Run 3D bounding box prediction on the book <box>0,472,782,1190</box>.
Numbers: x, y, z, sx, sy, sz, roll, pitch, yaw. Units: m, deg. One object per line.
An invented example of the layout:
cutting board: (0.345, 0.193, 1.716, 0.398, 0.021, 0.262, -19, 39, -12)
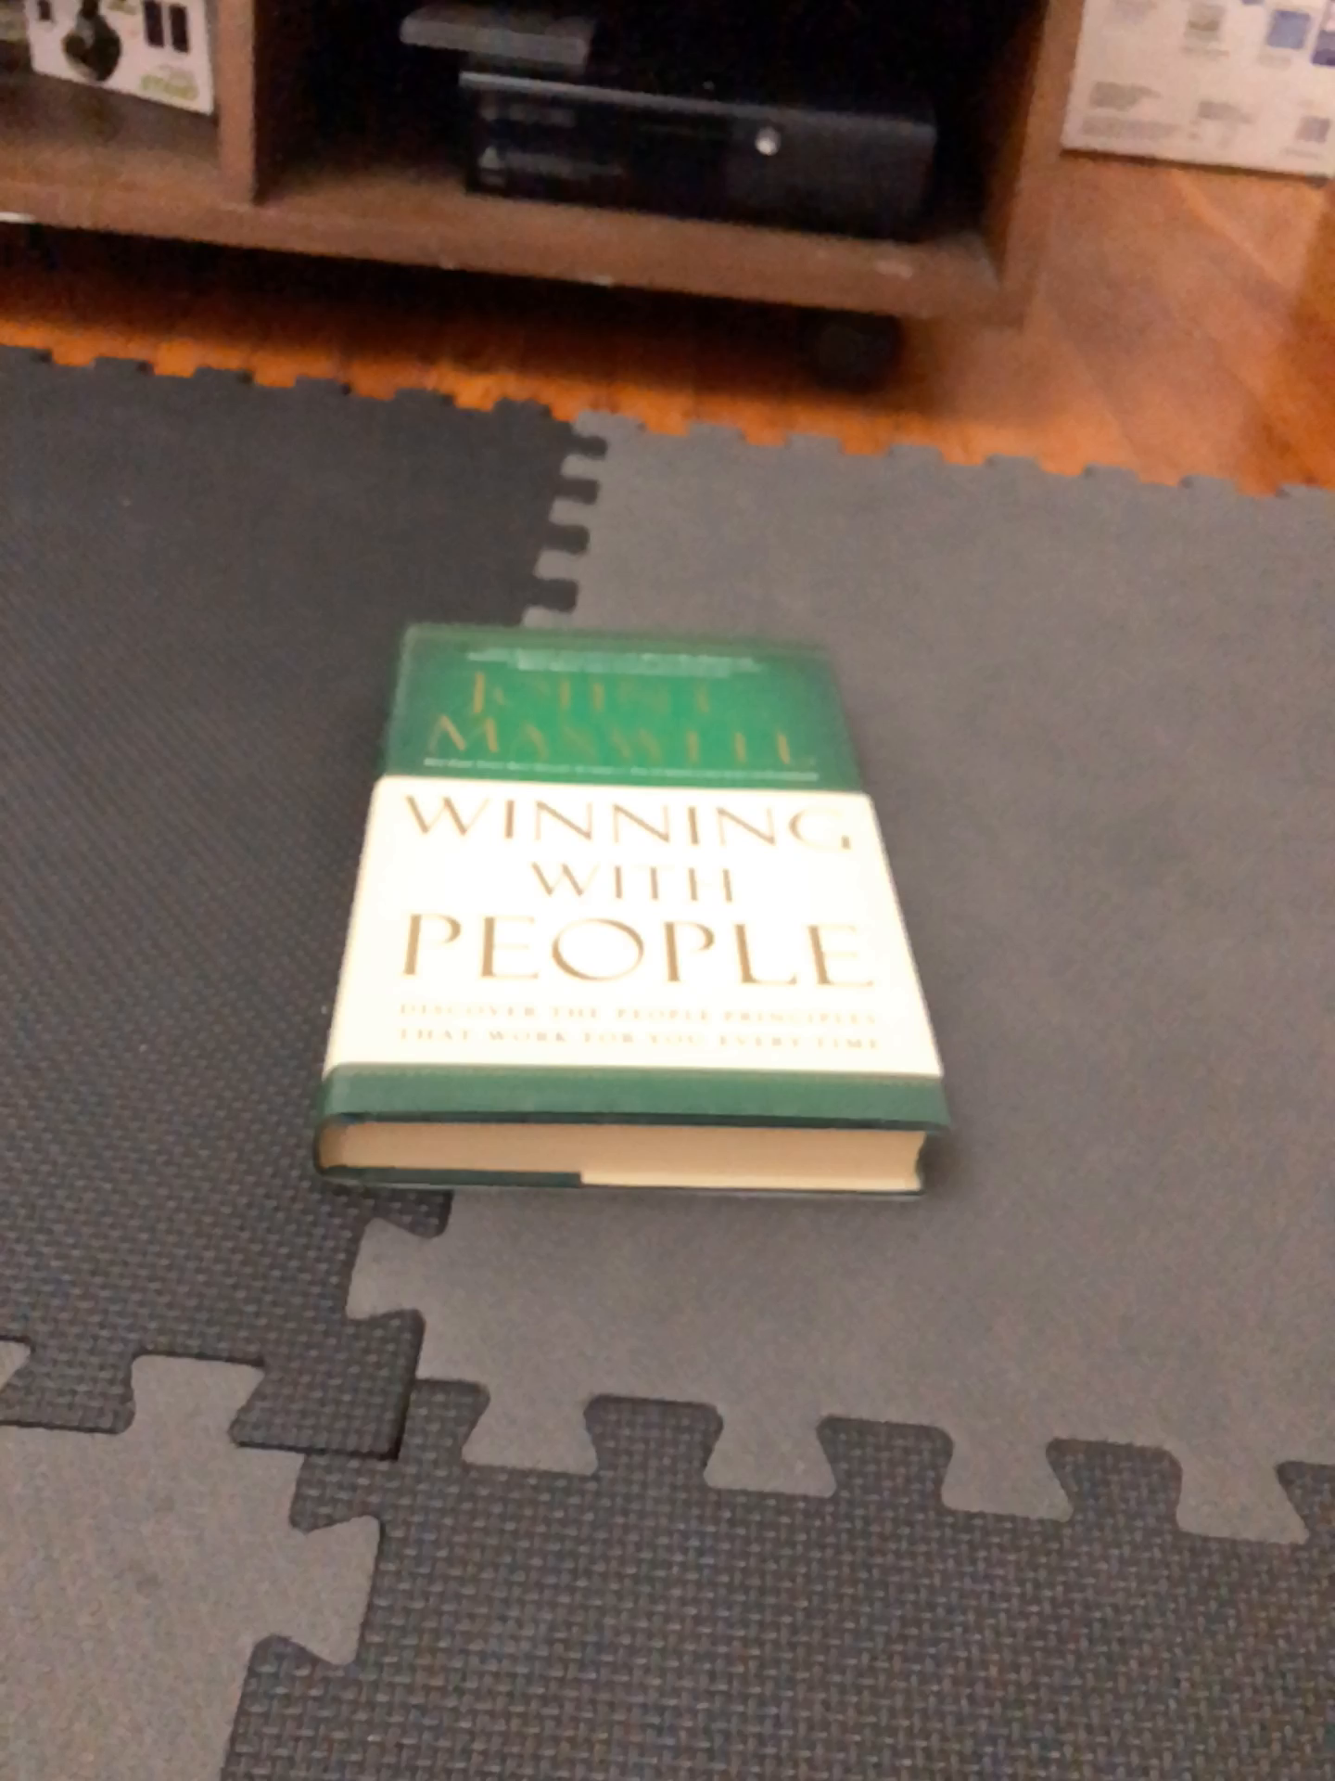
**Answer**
book: (-0.078, -0.041, 0.436, 0.200, 0.030, 0.292, 4, 38, -4)
